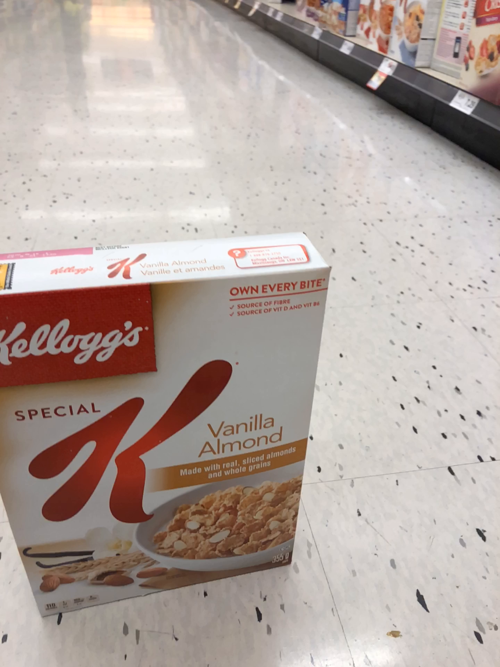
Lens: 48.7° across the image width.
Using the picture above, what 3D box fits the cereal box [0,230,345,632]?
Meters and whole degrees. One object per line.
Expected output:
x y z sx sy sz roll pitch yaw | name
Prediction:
-0.059 0.071 0.353 0.200 0.258 0.050 -6 33 -13 | cereal box
